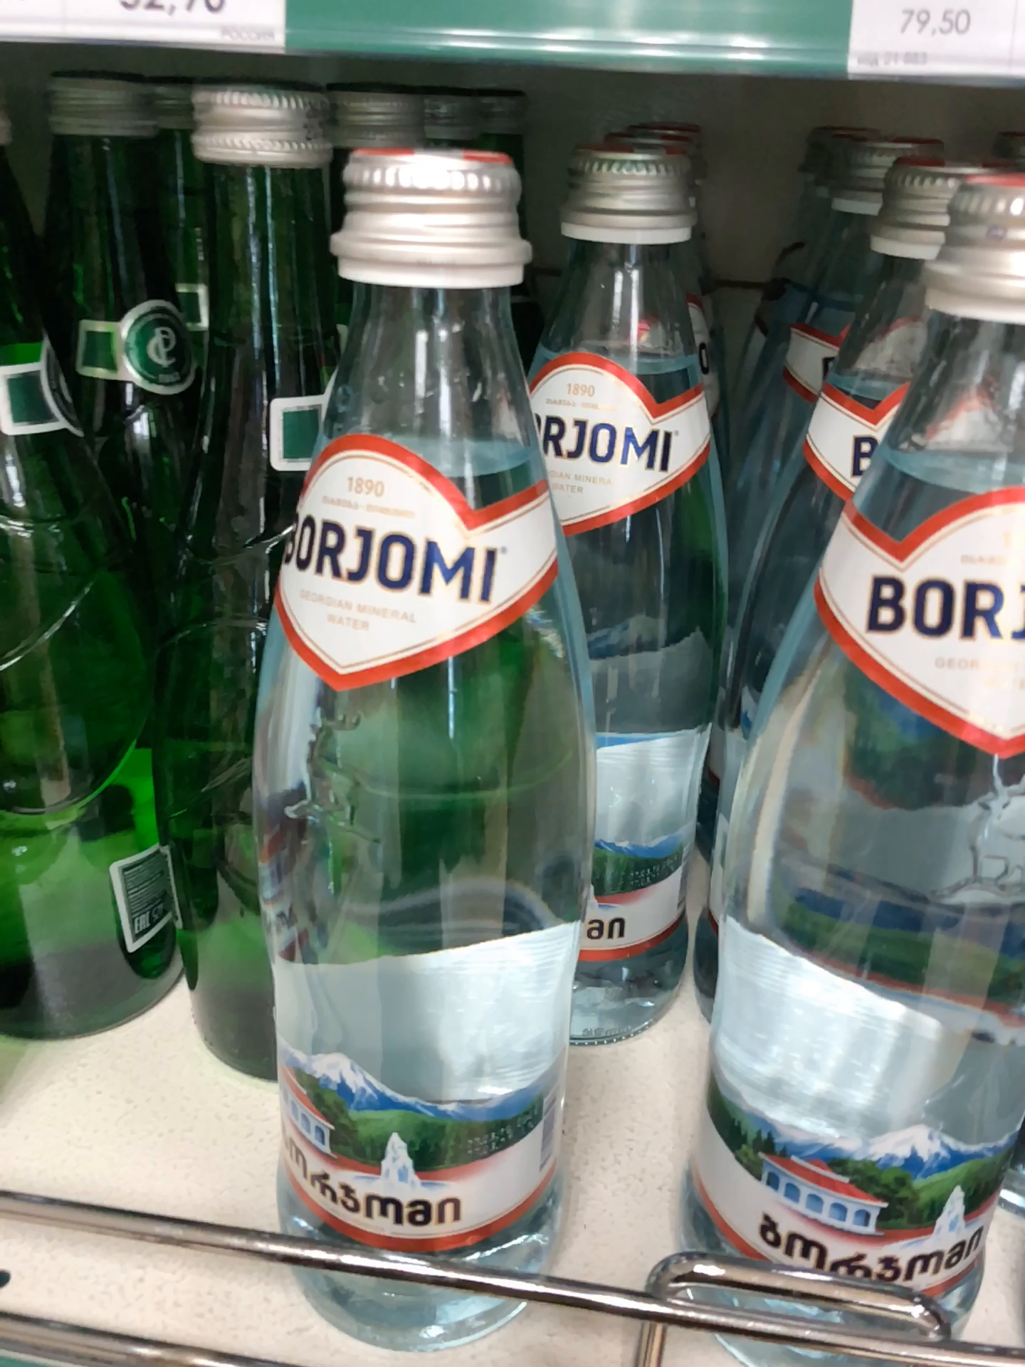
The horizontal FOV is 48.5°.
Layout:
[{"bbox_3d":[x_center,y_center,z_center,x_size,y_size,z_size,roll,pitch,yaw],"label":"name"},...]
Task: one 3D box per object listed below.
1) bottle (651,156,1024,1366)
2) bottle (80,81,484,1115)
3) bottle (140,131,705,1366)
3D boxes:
[{"bbox_3d":[0.078,0.032,0.216,0.069,0.236,0.065,2,25,-1],"label":"bottle"},{"bbox_3d":[-0.056,-0.015,0.287,0.065,0.237,0.069,2,25,-1],"label":"bottle"},{"bbox_3d":[-0.014,0.025,0.224,0.068,0.236,0.063,2,25,-1],"label":"bottle"}]
